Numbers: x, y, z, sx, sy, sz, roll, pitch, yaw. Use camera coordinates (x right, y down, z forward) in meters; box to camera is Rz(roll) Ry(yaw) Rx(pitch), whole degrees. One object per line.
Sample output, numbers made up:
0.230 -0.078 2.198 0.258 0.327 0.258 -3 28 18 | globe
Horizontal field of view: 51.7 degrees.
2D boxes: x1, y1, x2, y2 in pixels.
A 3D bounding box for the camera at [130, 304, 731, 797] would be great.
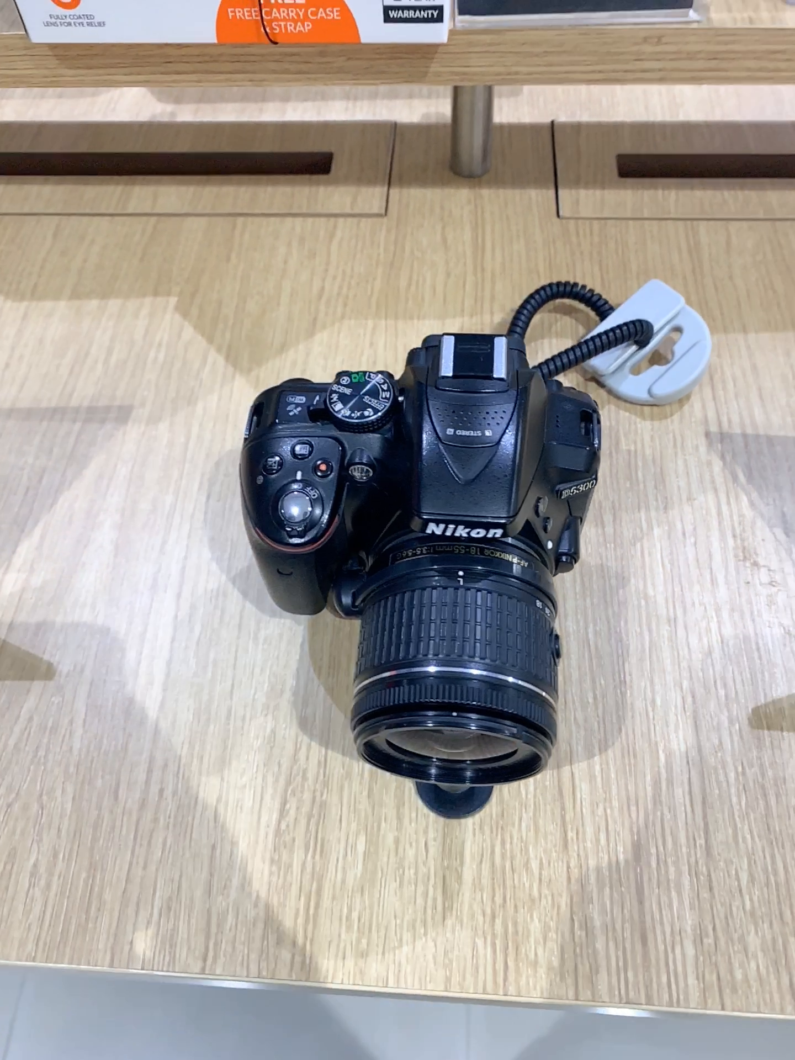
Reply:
0.009 0.006 0.243 0.130 0.080 0.120 0 58 3 | camera
